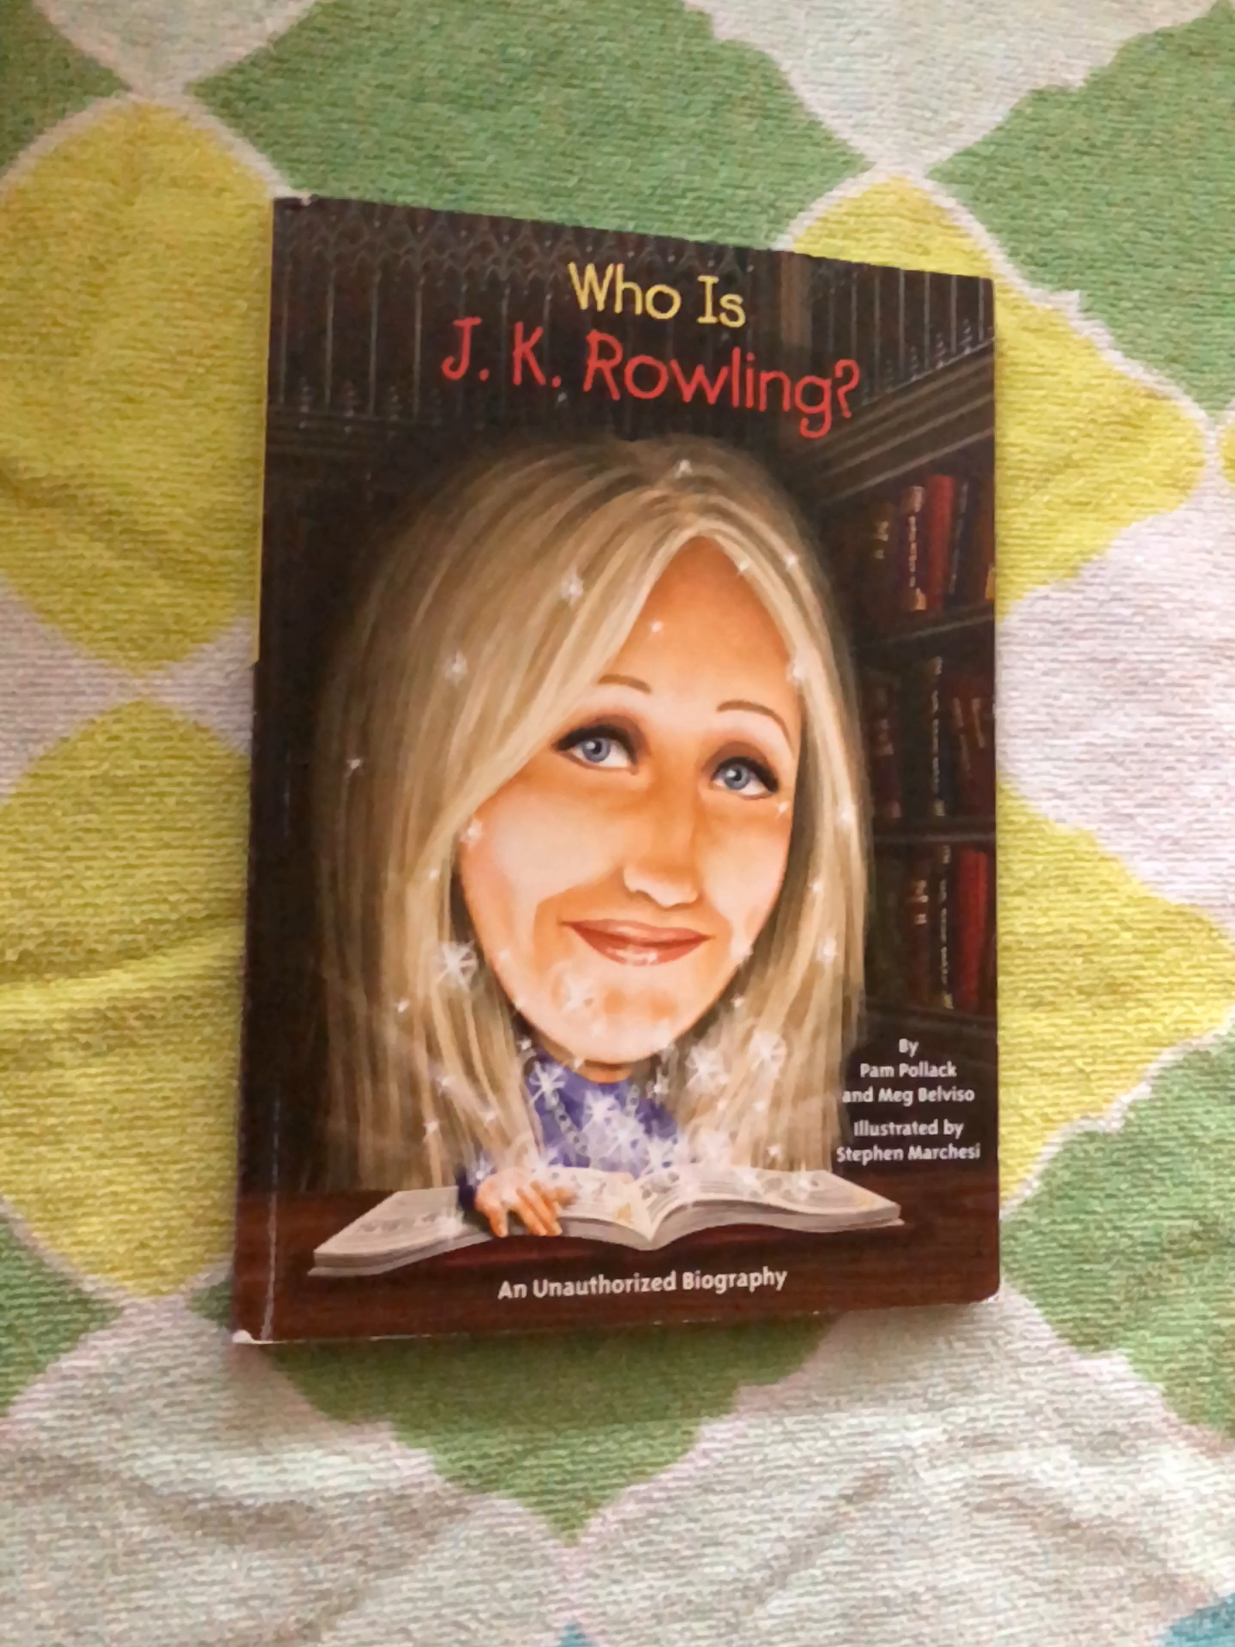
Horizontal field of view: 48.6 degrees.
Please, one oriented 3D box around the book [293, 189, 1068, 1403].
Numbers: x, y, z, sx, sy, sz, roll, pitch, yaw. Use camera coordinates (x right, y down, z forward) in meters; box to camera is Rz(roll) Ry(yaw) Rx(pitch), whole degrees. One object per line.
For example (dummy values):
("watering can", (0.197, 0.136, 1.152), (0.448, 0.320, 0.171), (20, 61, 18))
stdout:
("book", (0.014, -0.005, 0.228), (0.126, 0.012, 0.187), (2, 85, -12))
